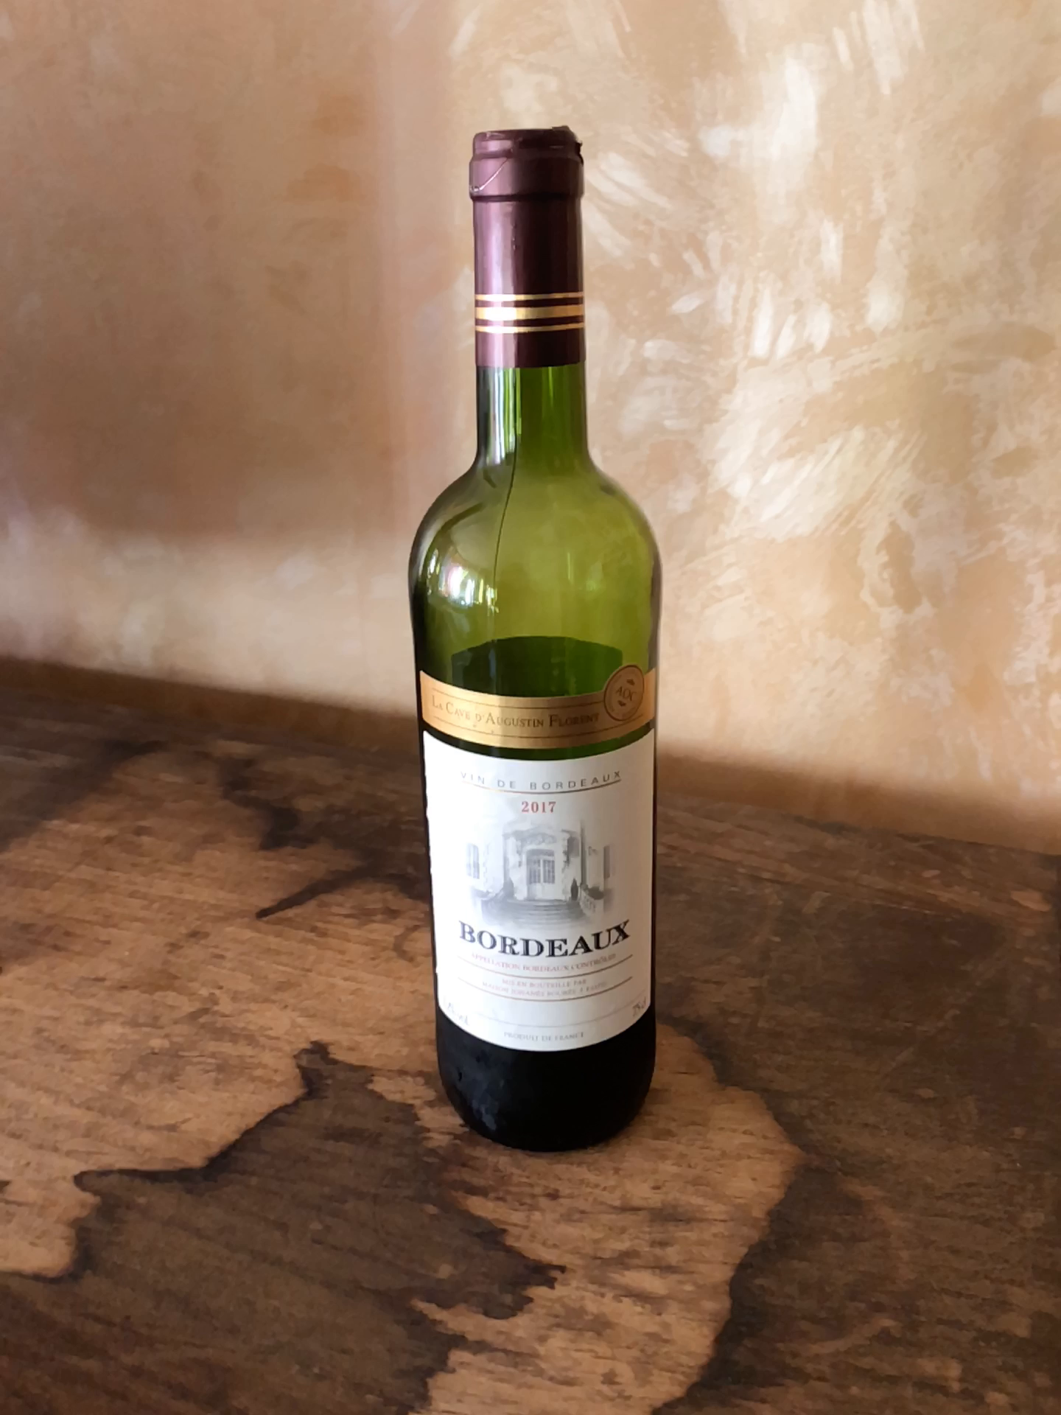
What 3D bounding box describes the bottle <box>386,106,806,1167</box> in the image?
[{"bbox_3d":[0.011,-0.010,0.341,0.090,0.289,0.080,-1,22,-3],"label":"bottle"}]
